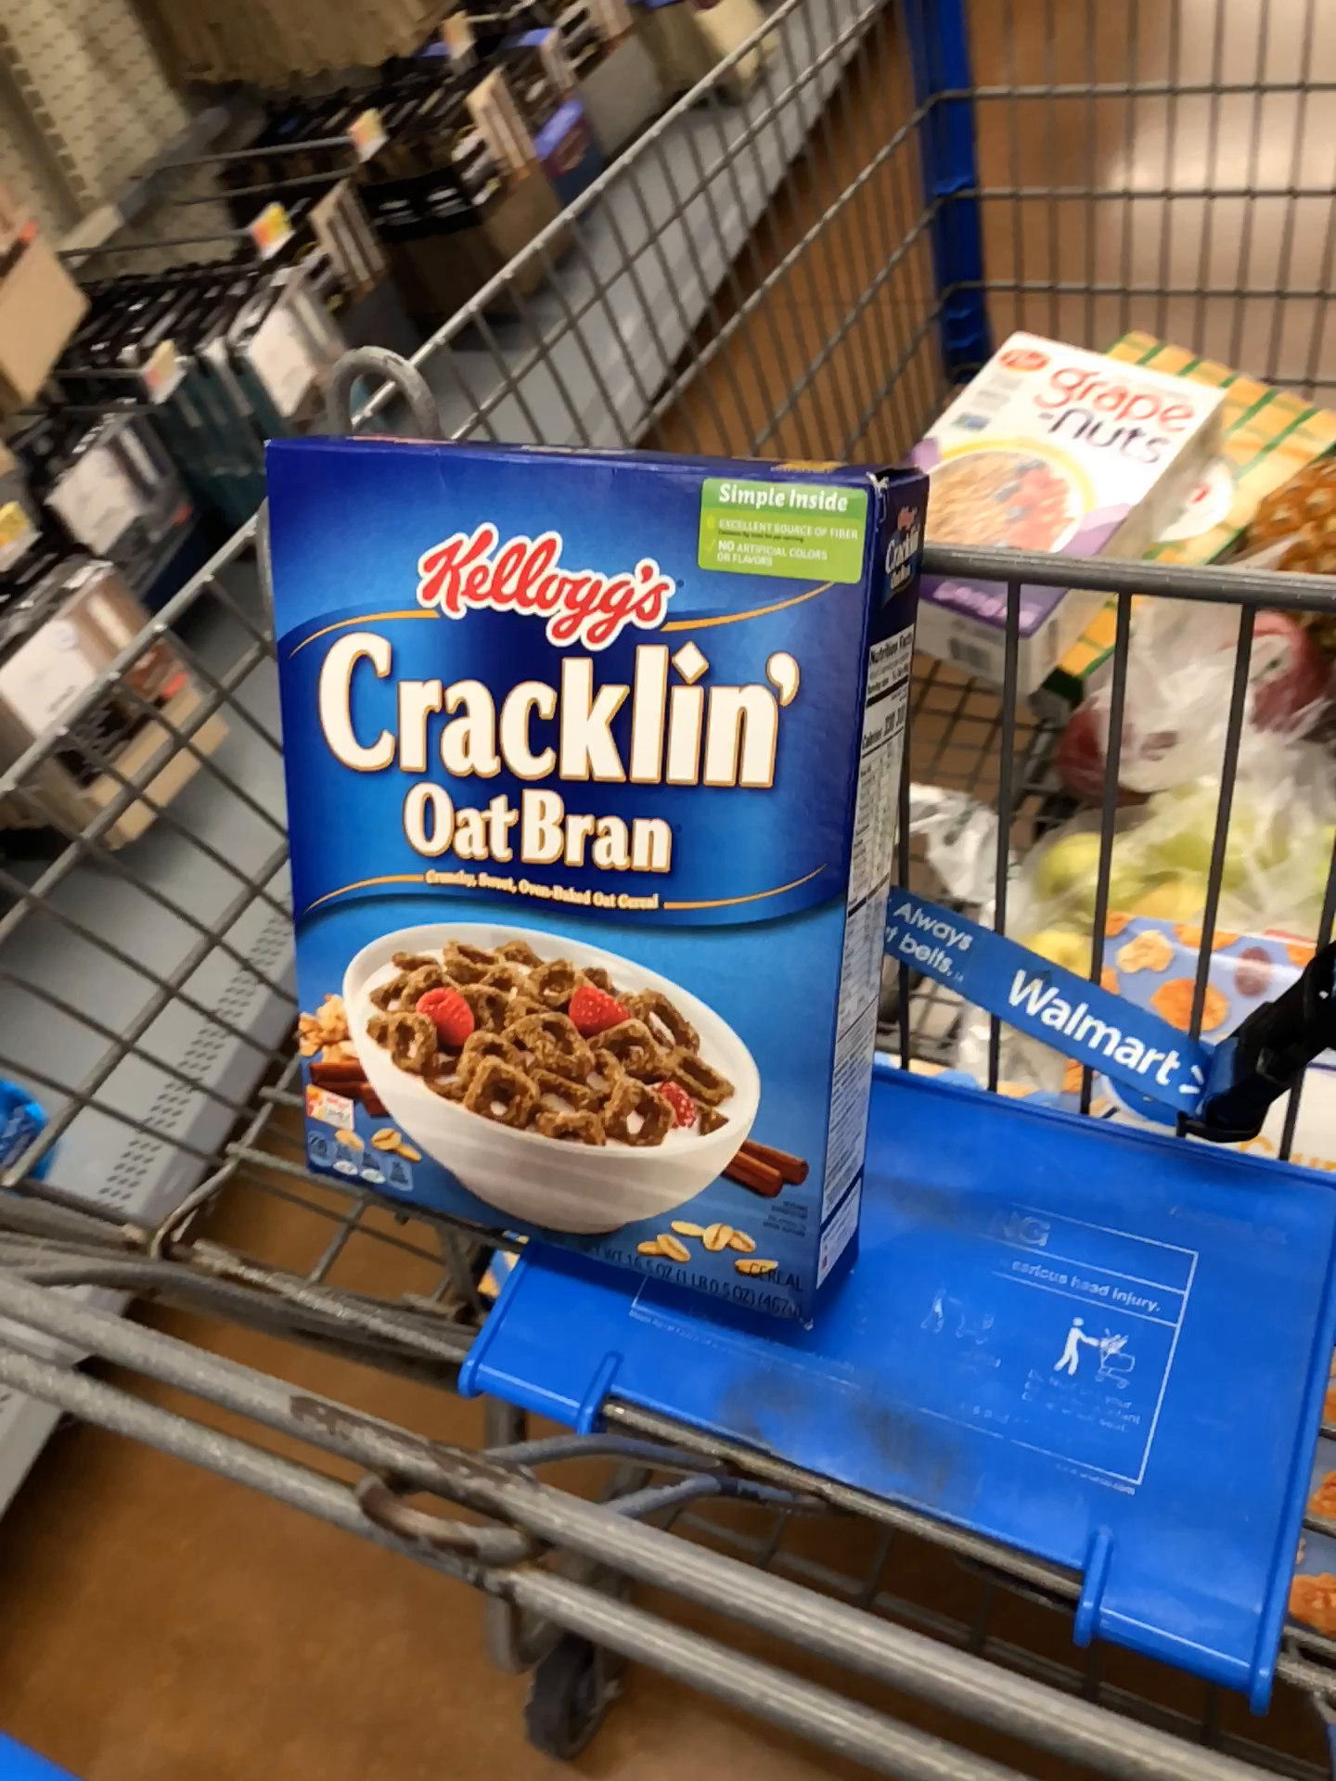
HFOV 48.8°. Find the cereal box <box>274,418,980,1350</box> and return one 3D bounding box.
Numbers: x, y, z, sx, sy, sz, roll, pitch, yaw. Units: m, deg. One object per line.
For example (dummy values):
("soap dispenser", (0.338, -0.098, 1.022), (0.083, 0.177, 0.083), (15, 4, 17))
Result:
("cereal box", (-0.020, -0.008, 0.462), (0.200, 0.260, 0.050), (10, 20, 23))
